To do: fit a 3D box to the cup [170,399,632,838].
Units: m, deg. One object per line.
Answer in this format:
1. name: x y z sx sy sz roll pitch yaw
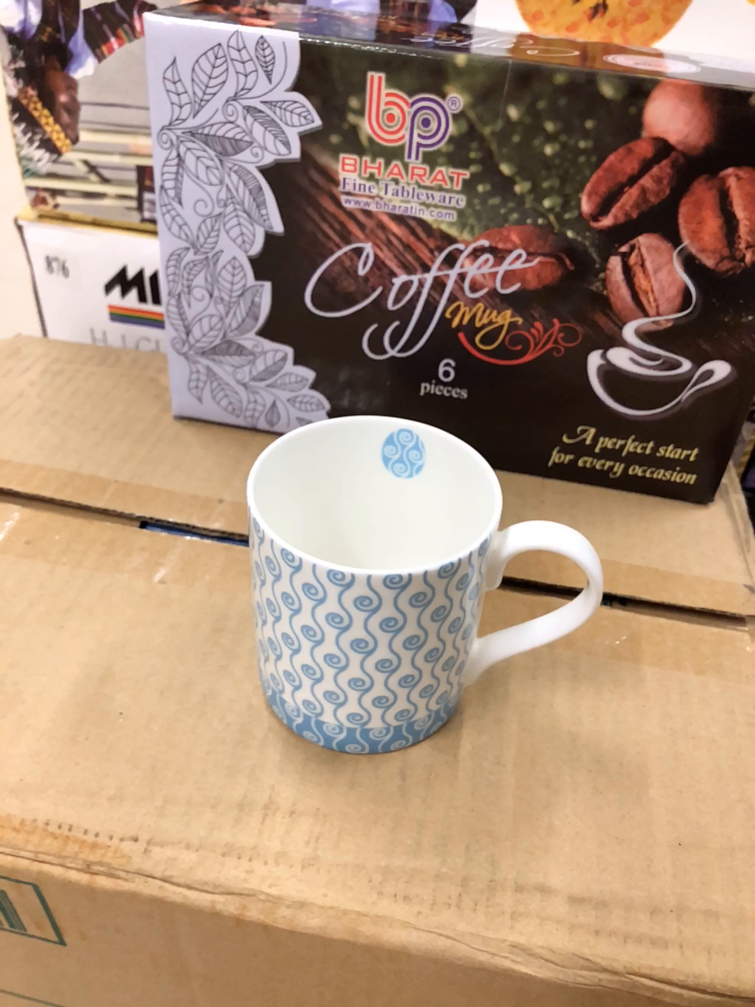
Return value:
1. cup: 0.008 0.034 0.253 0.110 0.089 0.070 10 40 6
